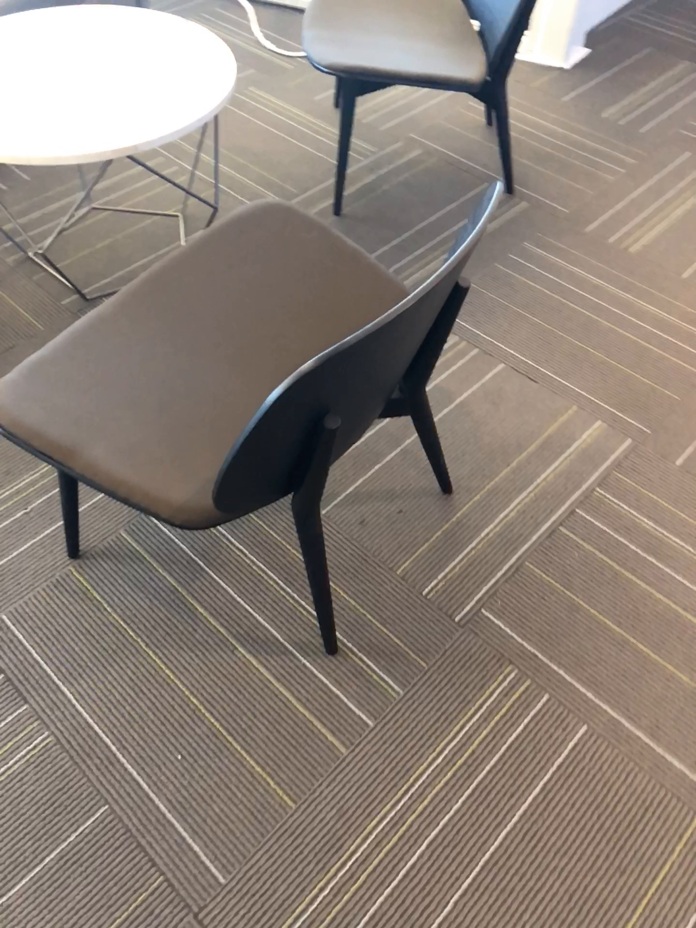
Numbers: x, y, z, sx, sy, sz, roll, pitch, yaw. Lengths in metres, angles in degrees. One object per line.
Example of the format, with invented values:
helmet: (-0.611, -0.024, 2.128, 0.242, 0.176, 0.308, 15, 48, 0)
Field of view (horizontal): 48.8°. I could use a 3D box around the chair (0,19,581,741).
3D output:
chair: (-0.171, -0.152, 1.282, 0.741, 0.737, 0.672, 25, 54, 19)
